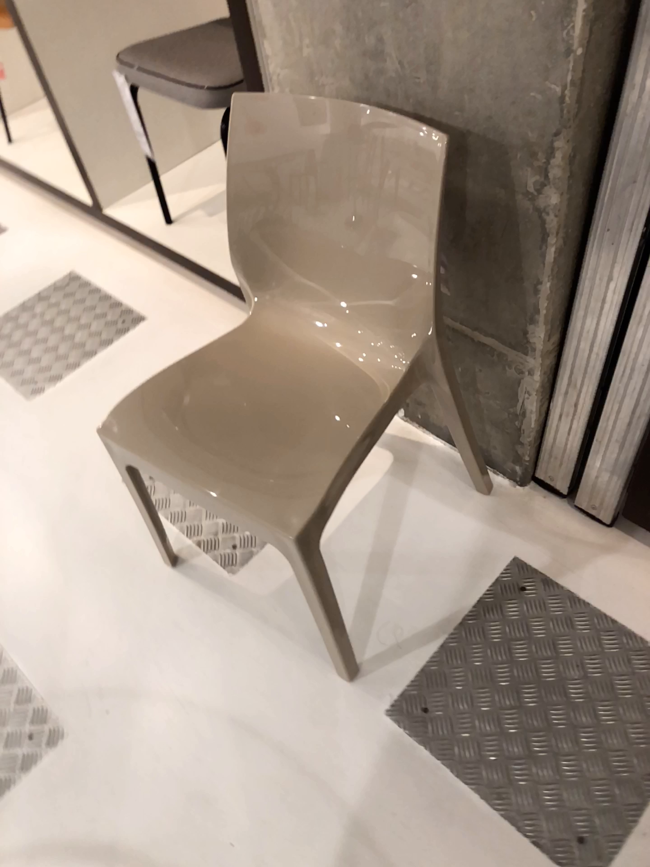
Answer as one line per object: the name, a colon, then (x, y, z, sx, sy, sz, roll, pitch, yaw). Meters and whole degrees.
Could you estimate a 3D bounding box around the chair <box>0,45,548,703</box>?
chair: (-0.046, -0.077, 1.217, 0.552, 0.825, 0.562, 25, 58, 27)
